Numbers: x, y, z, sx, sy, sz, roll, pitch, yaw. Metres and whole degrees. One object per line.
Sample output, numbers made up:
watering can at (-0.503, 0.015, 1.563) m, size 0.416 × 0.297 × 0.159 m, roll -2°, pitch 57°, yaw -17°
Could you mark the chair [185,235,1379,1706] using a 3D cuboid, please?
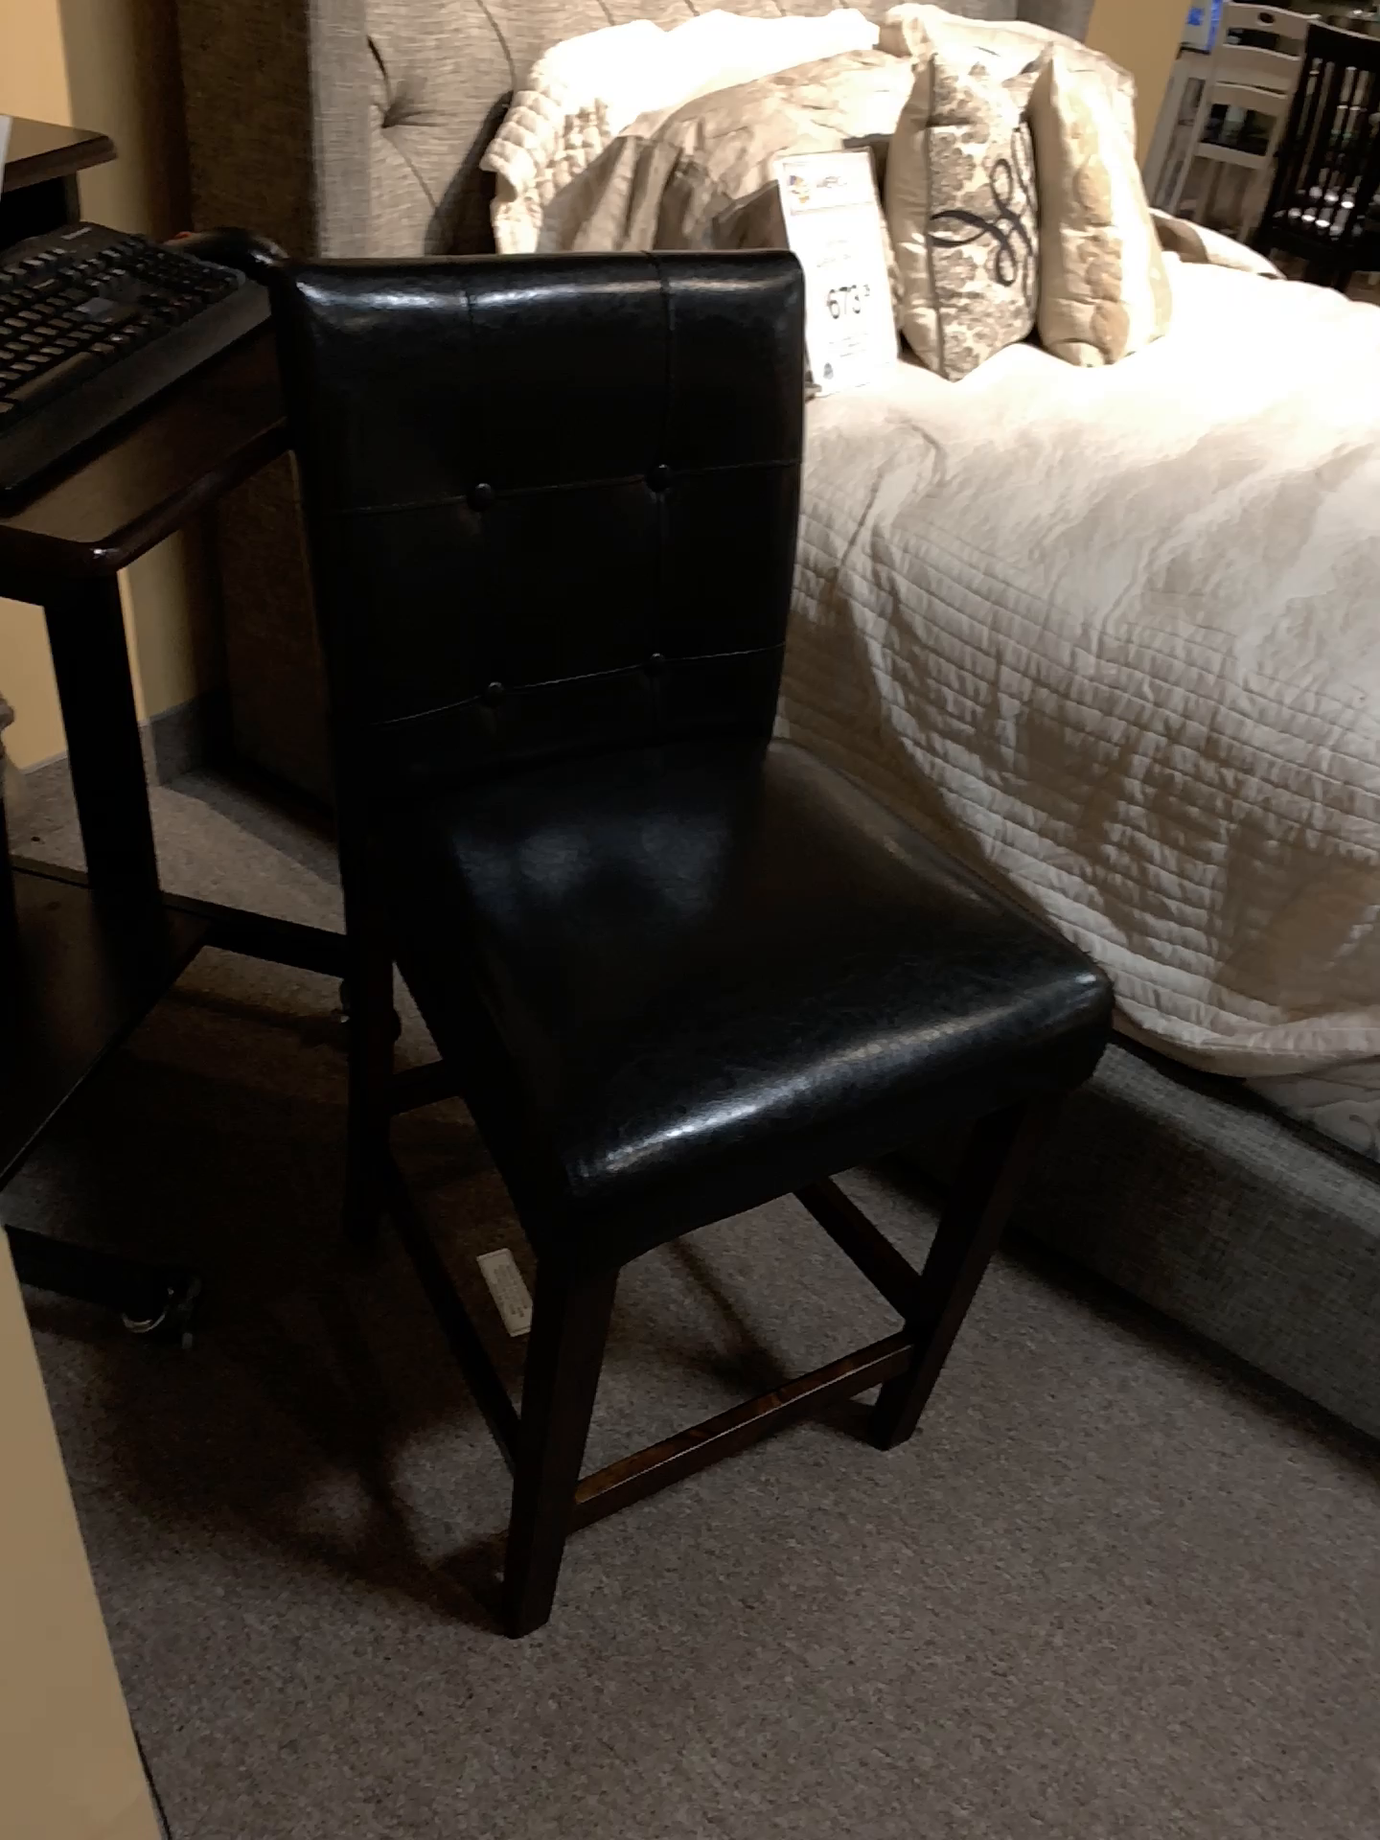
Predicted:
chair at (0.004, 0.026, 1.101) m, size 0.559 × 0.912 × 0.519 m, roll -15°, pitch 43°, yaw -28°
